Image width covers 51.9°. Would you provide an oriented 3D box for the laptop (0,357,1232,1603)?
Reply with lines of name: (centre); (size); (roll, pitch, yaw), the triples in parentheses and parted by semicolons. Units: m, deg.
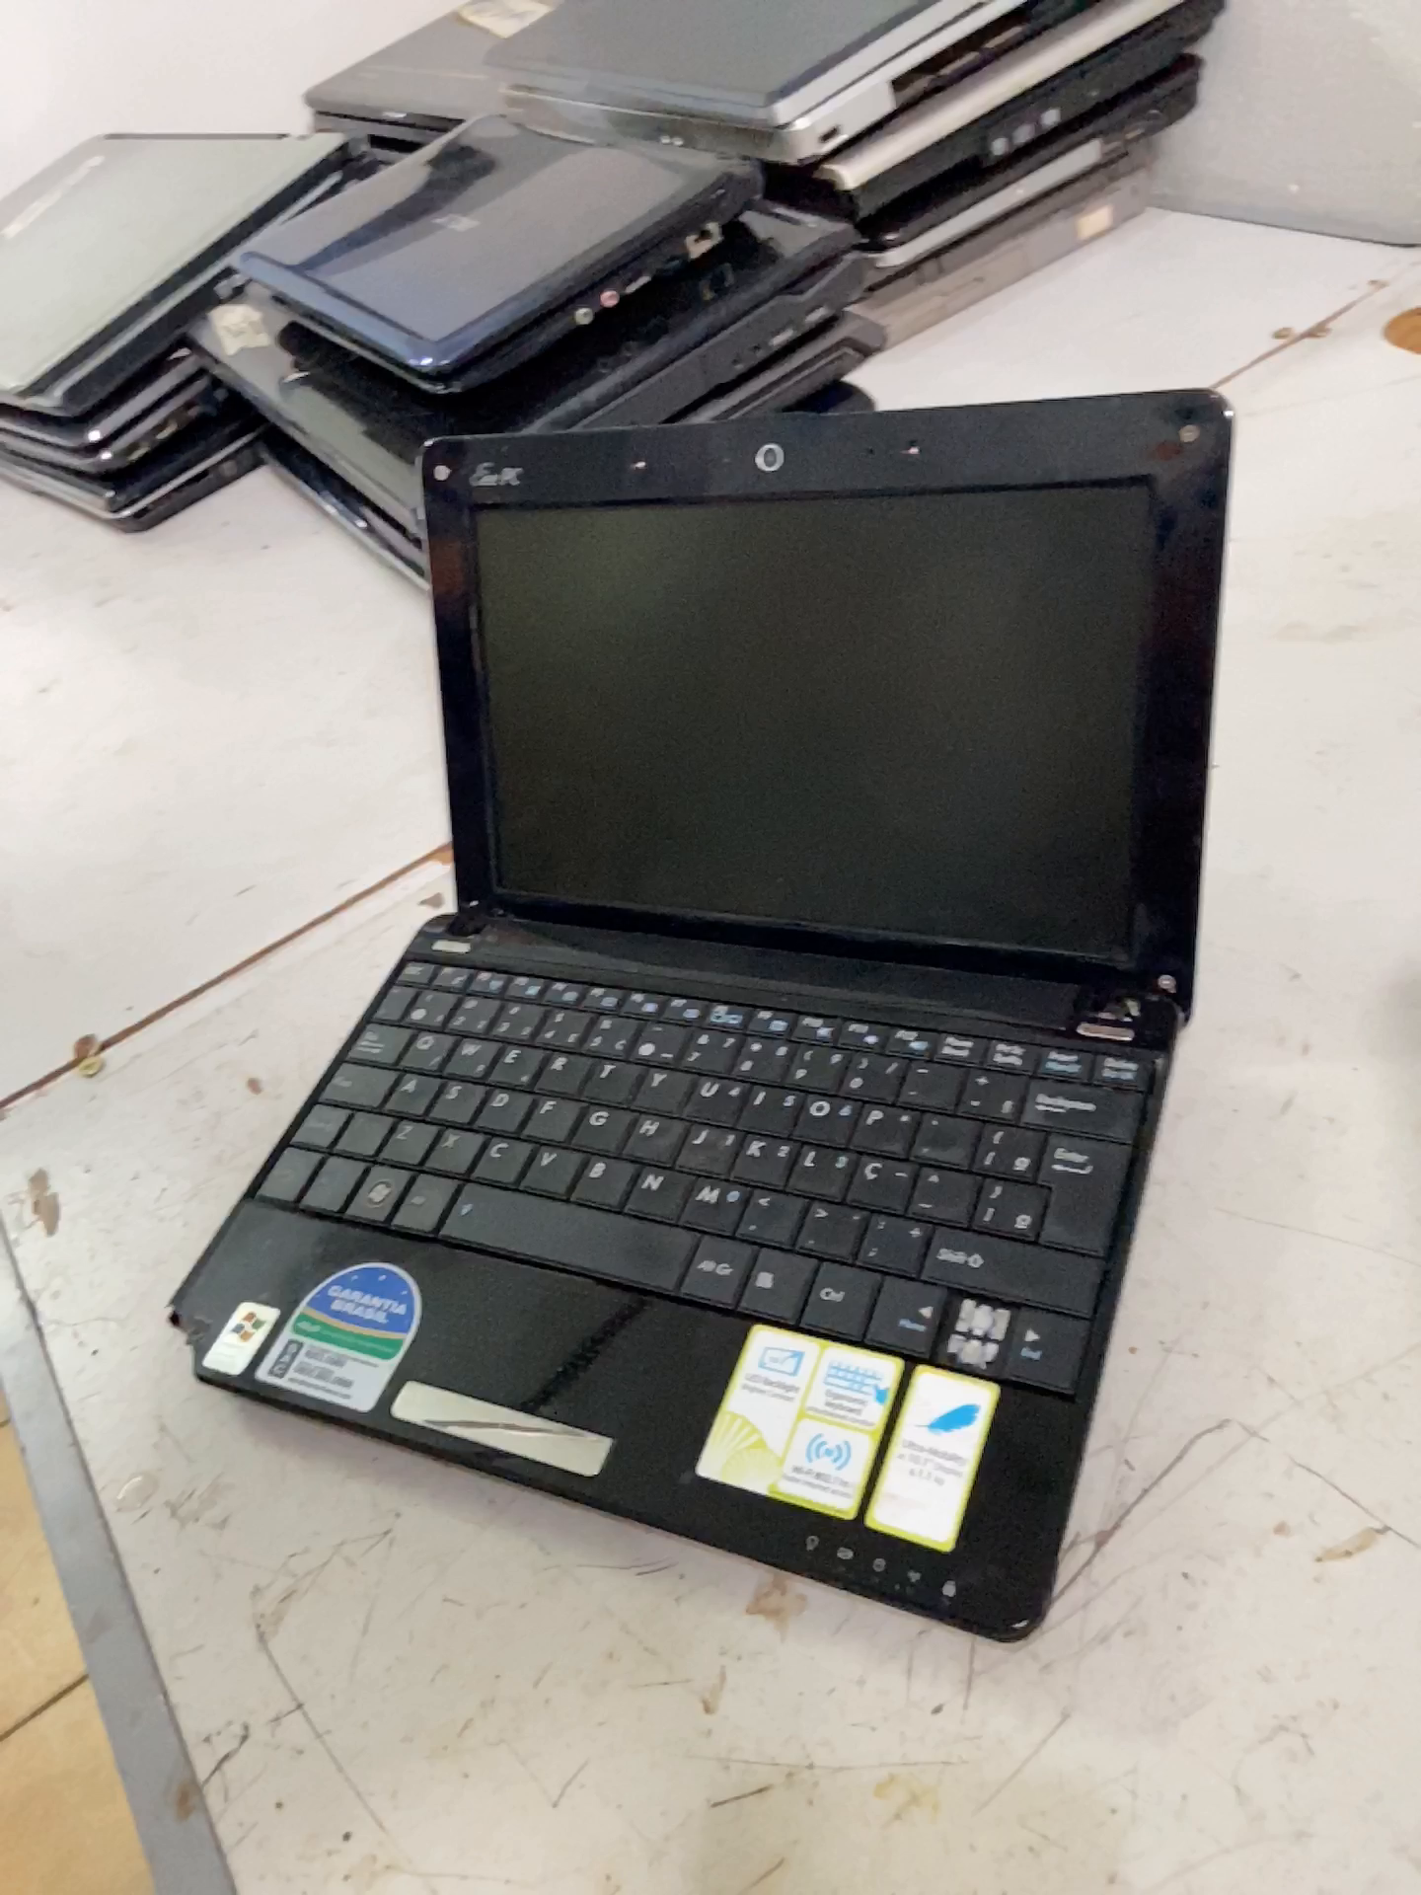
laptop: (-0.015, -0.022, 0.401); (0.259, 0.131, 0.266); (7, 51, 27)
